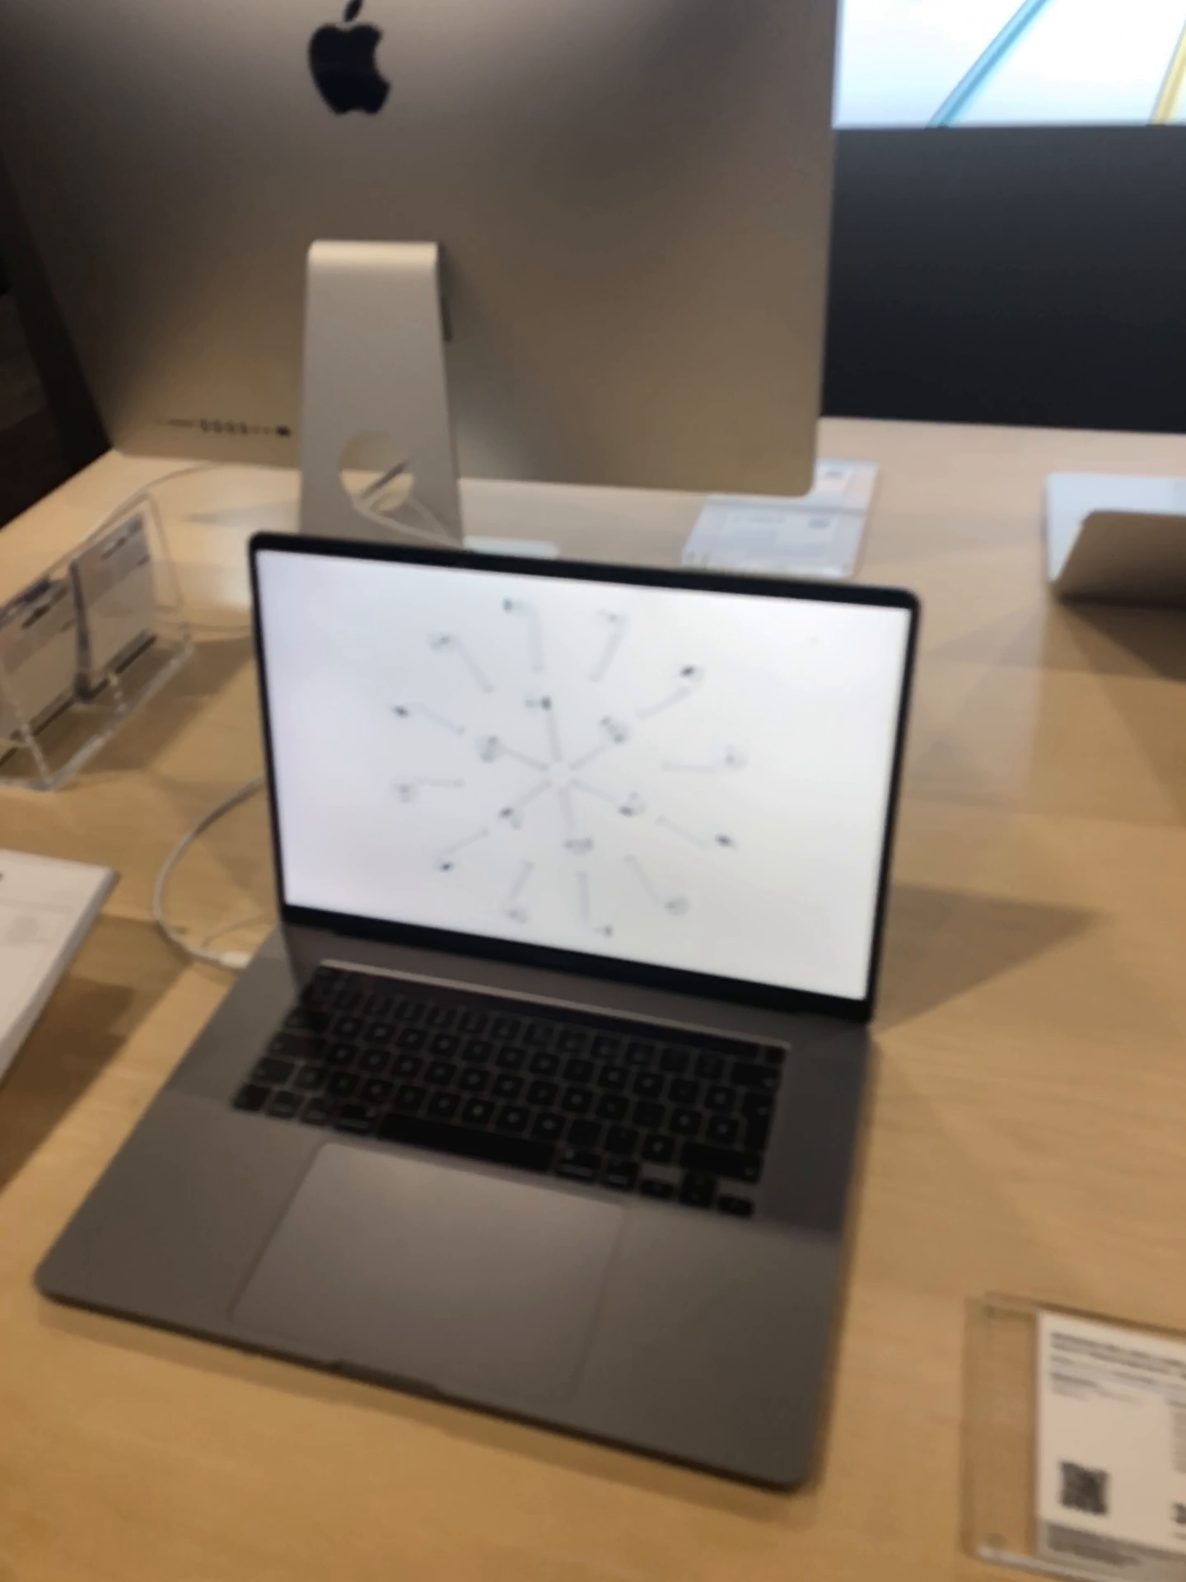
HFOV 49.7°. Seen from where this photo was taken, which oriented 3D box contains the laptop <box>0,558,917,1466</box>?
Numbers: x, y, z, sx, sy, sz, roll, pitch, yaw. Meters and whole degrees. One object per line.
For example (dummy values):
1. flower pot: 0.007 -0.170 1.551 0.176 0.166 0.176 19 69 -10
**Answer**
1. laptop: -0.053 0.070 0.585 0.344 0.227 0.292 7 37 15
